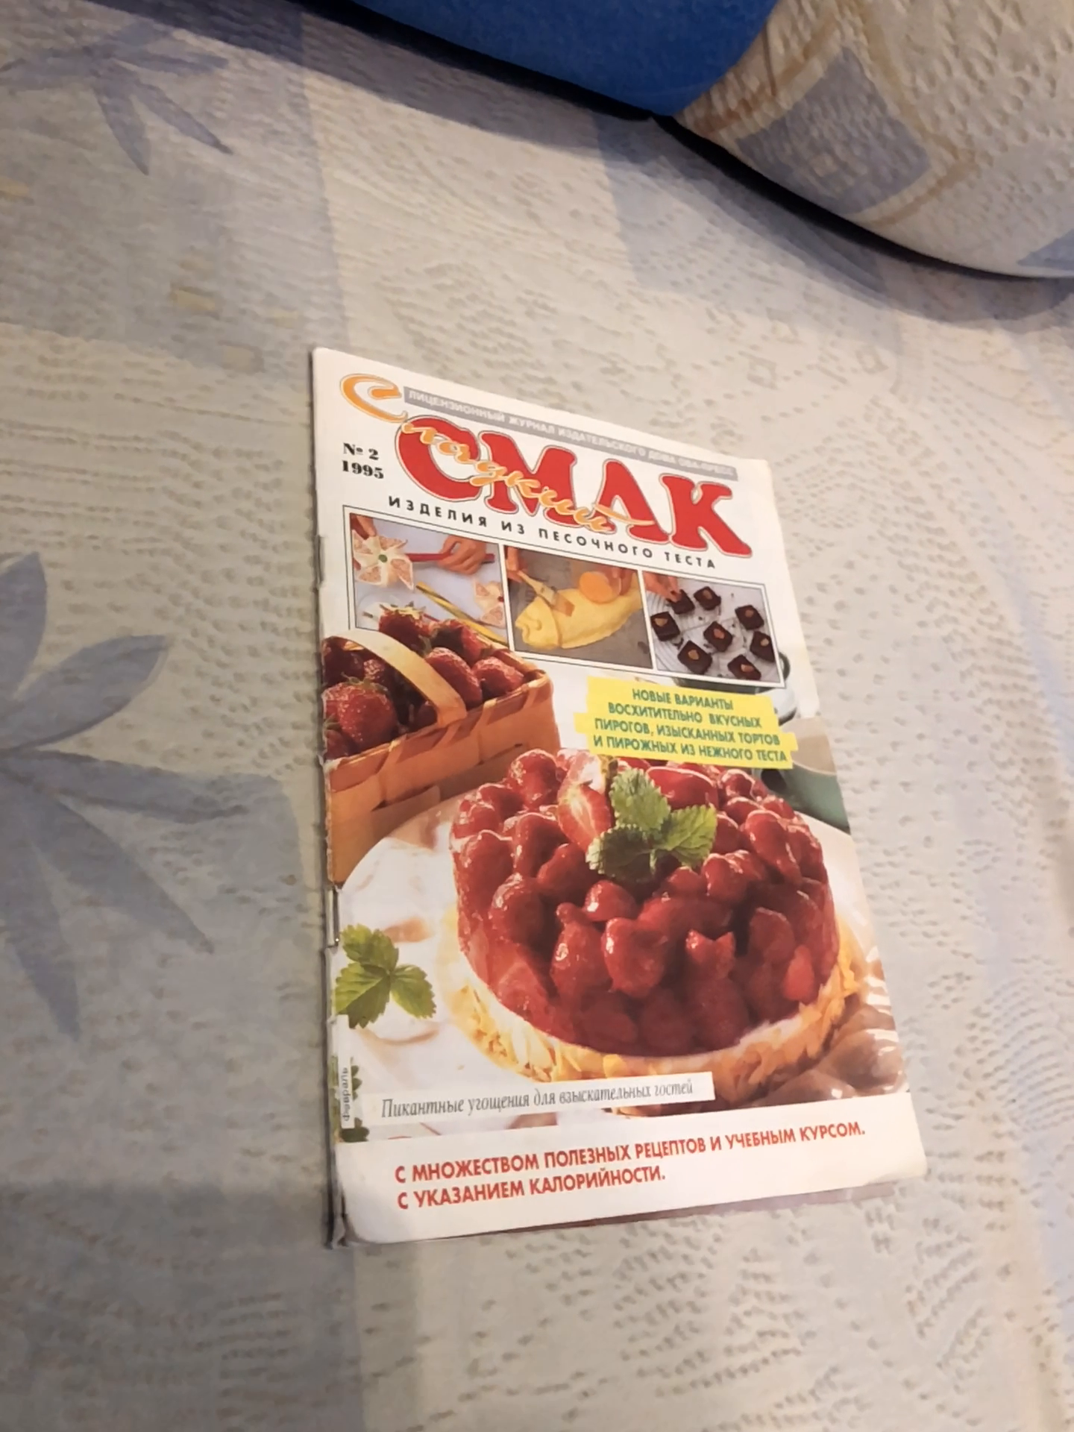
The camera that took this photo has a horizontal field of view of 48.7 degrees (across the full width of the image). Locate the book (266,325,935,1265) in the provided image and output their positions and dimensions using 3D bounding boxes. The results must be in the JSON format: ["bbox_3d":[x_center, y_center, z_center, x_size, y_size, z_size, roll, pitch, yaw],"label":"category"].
[{"bbox_3d":[0.015,0.013,0.337,0.178,0.020,0.241,6,65,-28],"label":"book"}]
